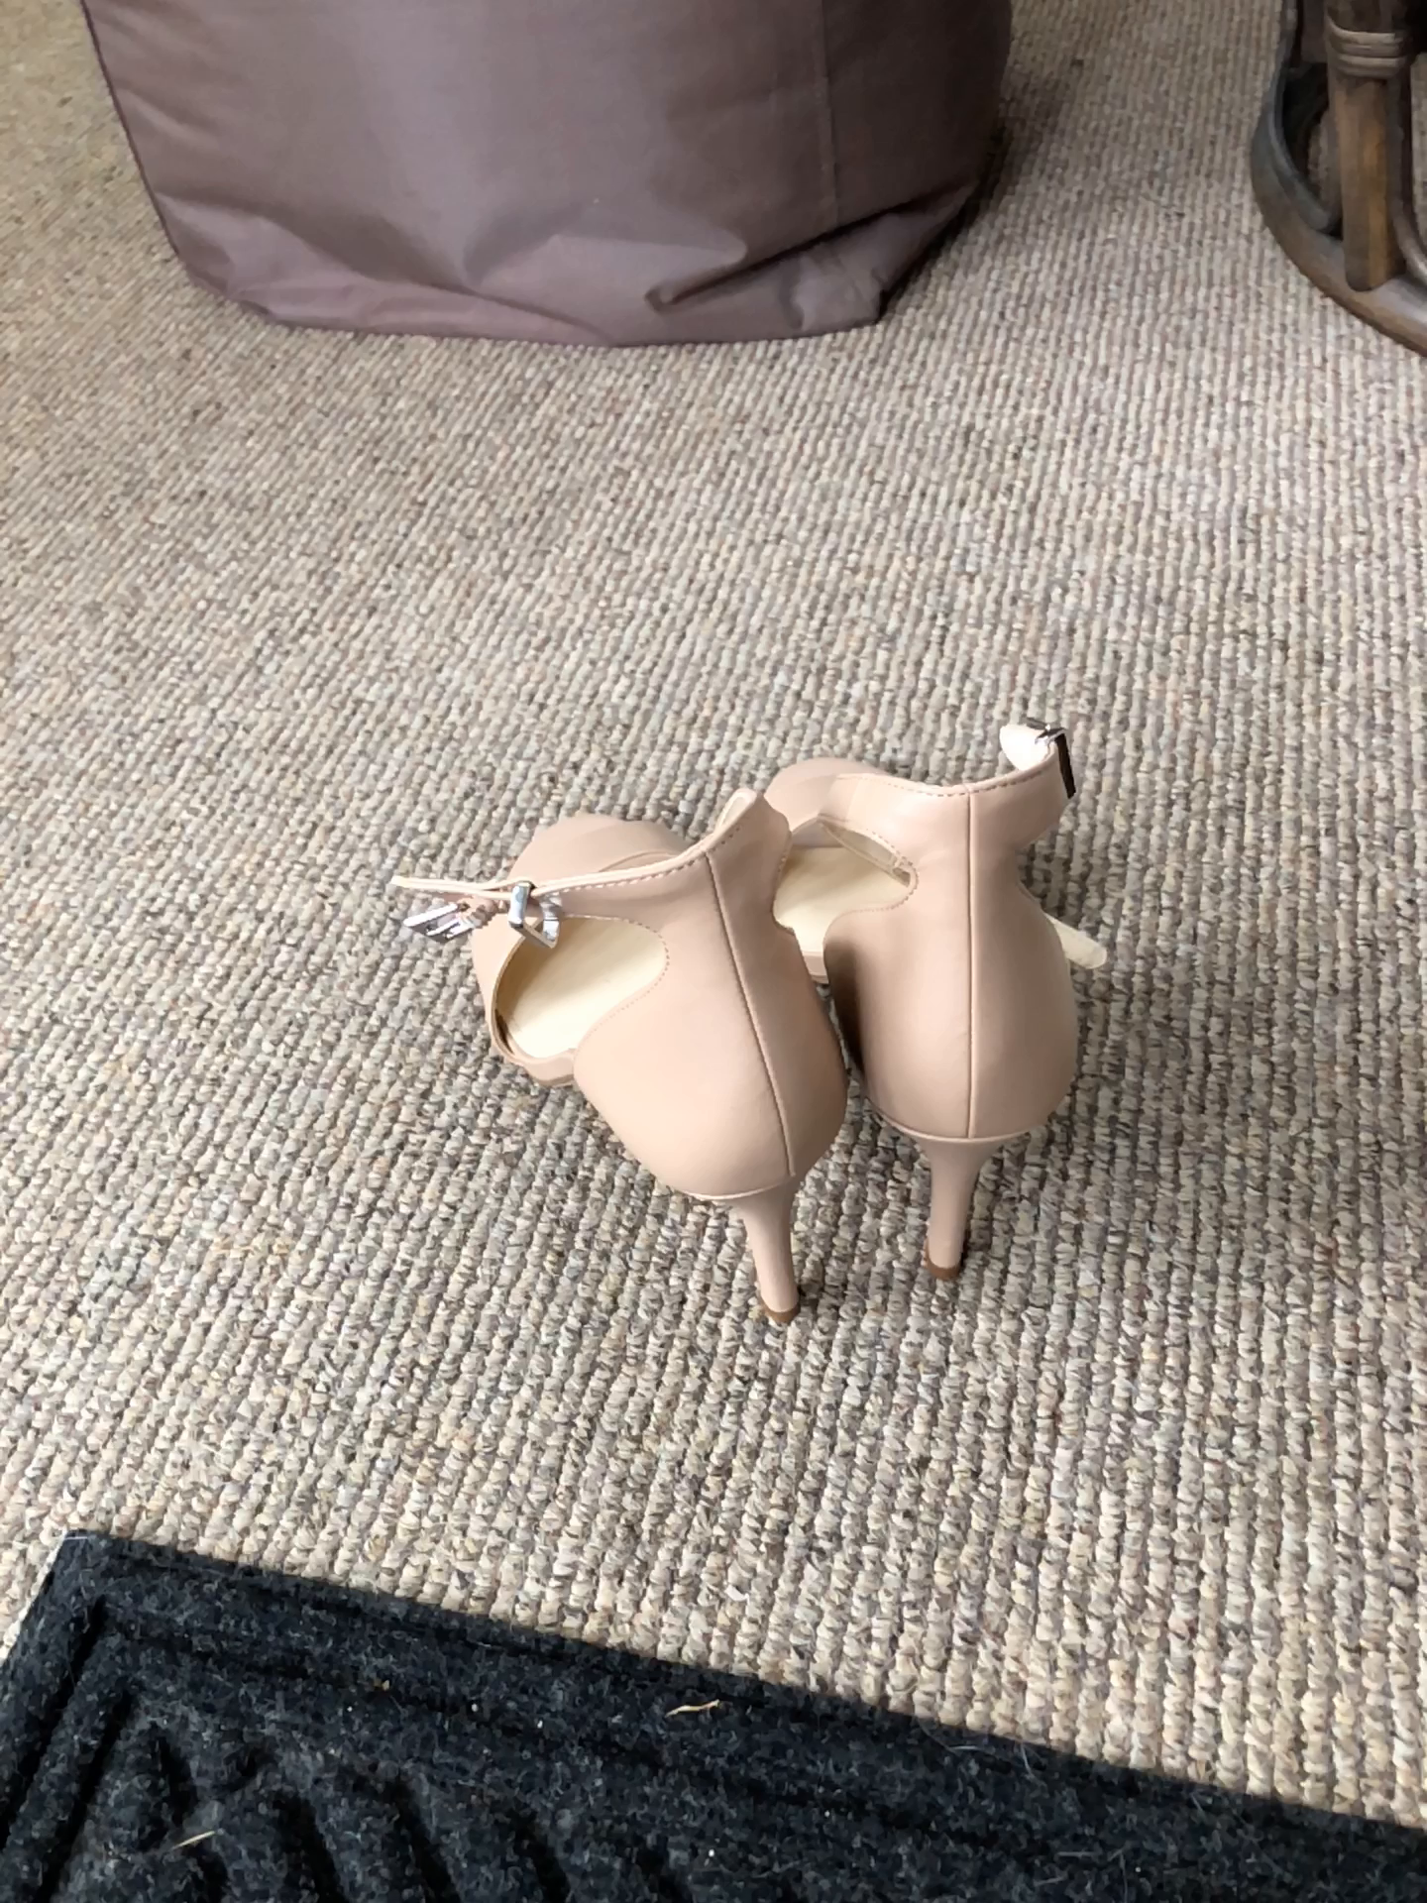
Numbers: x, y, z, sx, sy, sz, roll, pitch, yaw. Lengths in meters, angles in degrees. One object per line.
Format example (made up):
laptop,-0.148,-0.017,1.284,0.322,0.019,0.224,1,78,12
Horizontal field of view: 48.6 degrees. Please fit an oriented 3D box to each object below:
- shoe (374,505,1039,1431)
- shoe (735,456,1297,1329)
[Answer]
shoe,-0.011,-0.002,0.459,0.105,0.144,0.207,-17,49,-12
shoe,0.073,-0.022,0.481,0.099,0.154,0.208,-7,48,-3
